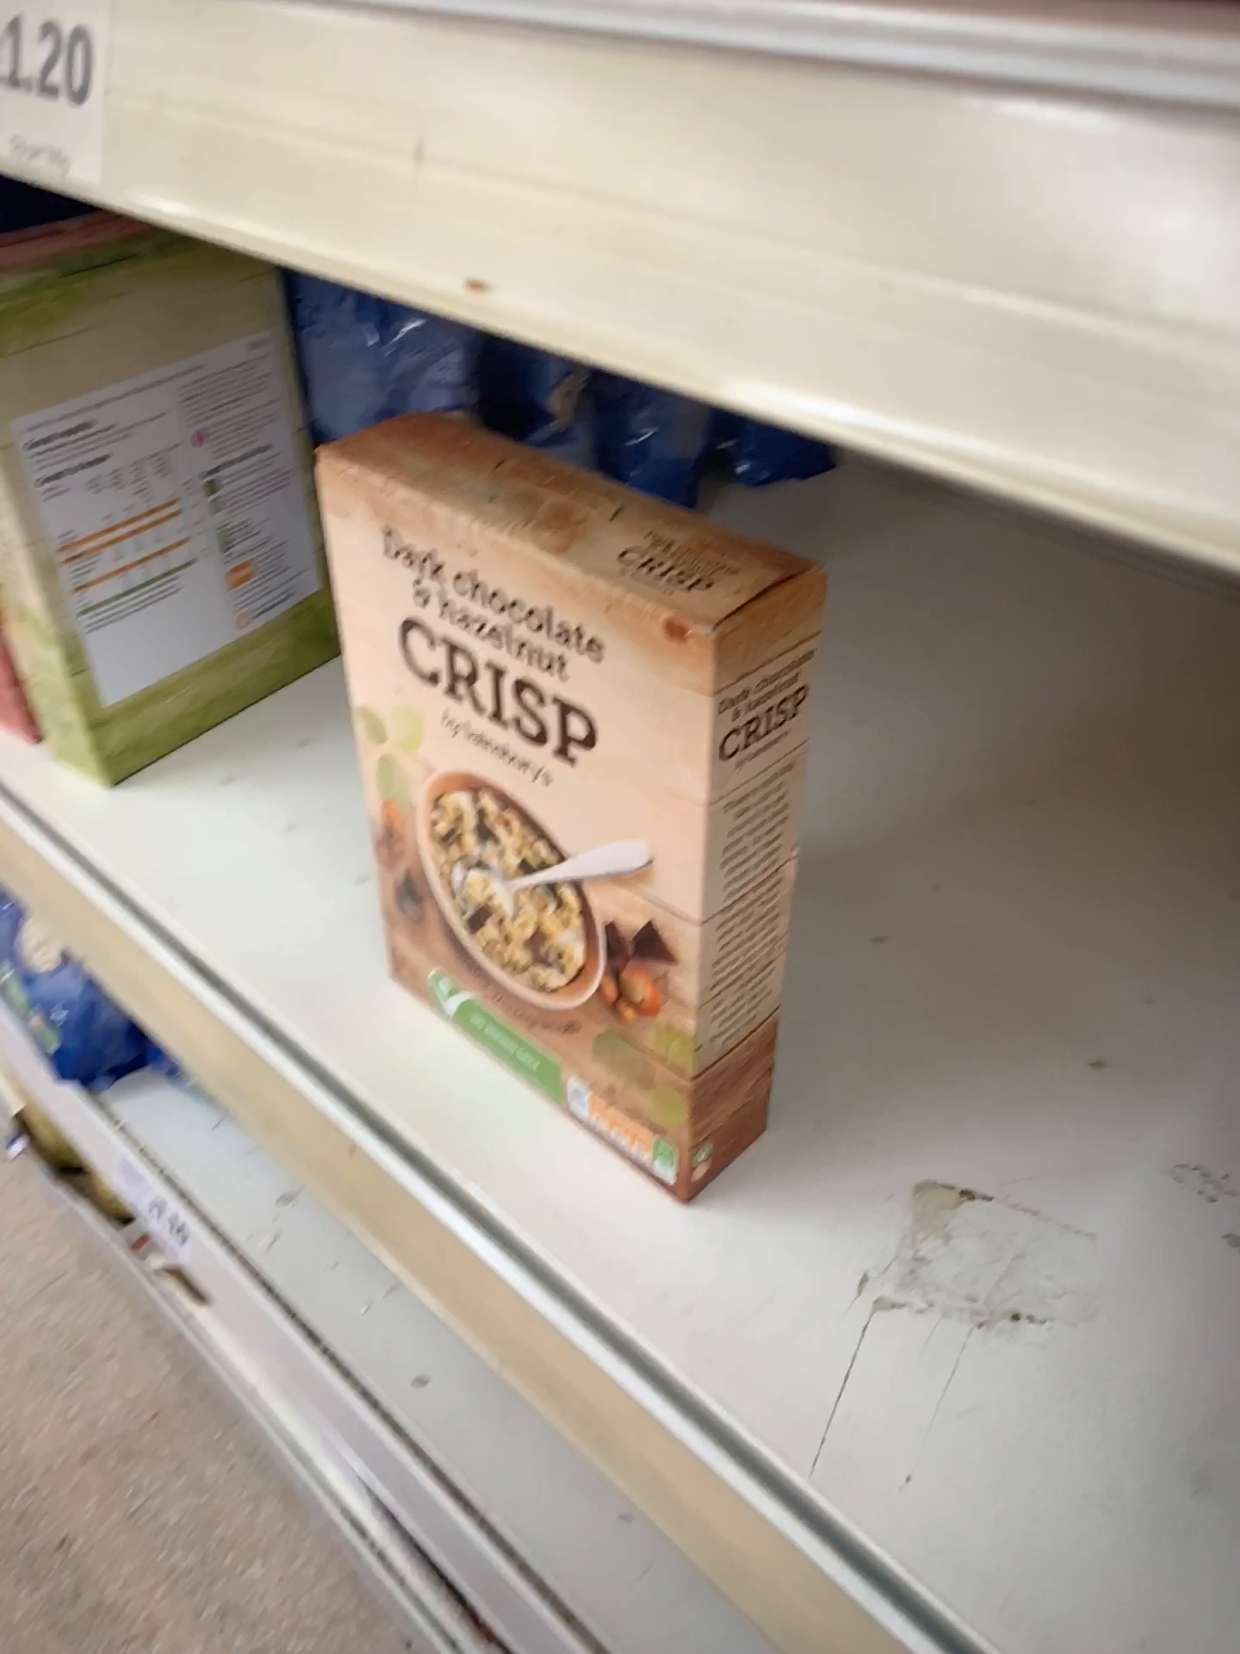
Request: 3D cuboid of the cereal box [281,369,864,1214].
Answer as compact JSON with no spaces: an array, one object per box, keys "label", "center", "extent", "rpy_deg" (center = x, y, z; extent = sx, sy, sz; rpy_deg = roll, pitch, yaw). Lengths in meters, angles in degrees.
[{"label":"cereal box","center":[-0.023,-0.011,0.461],"extent":[0.191,0.248,0.060],"rpy_deg":[31,47,33]}]
